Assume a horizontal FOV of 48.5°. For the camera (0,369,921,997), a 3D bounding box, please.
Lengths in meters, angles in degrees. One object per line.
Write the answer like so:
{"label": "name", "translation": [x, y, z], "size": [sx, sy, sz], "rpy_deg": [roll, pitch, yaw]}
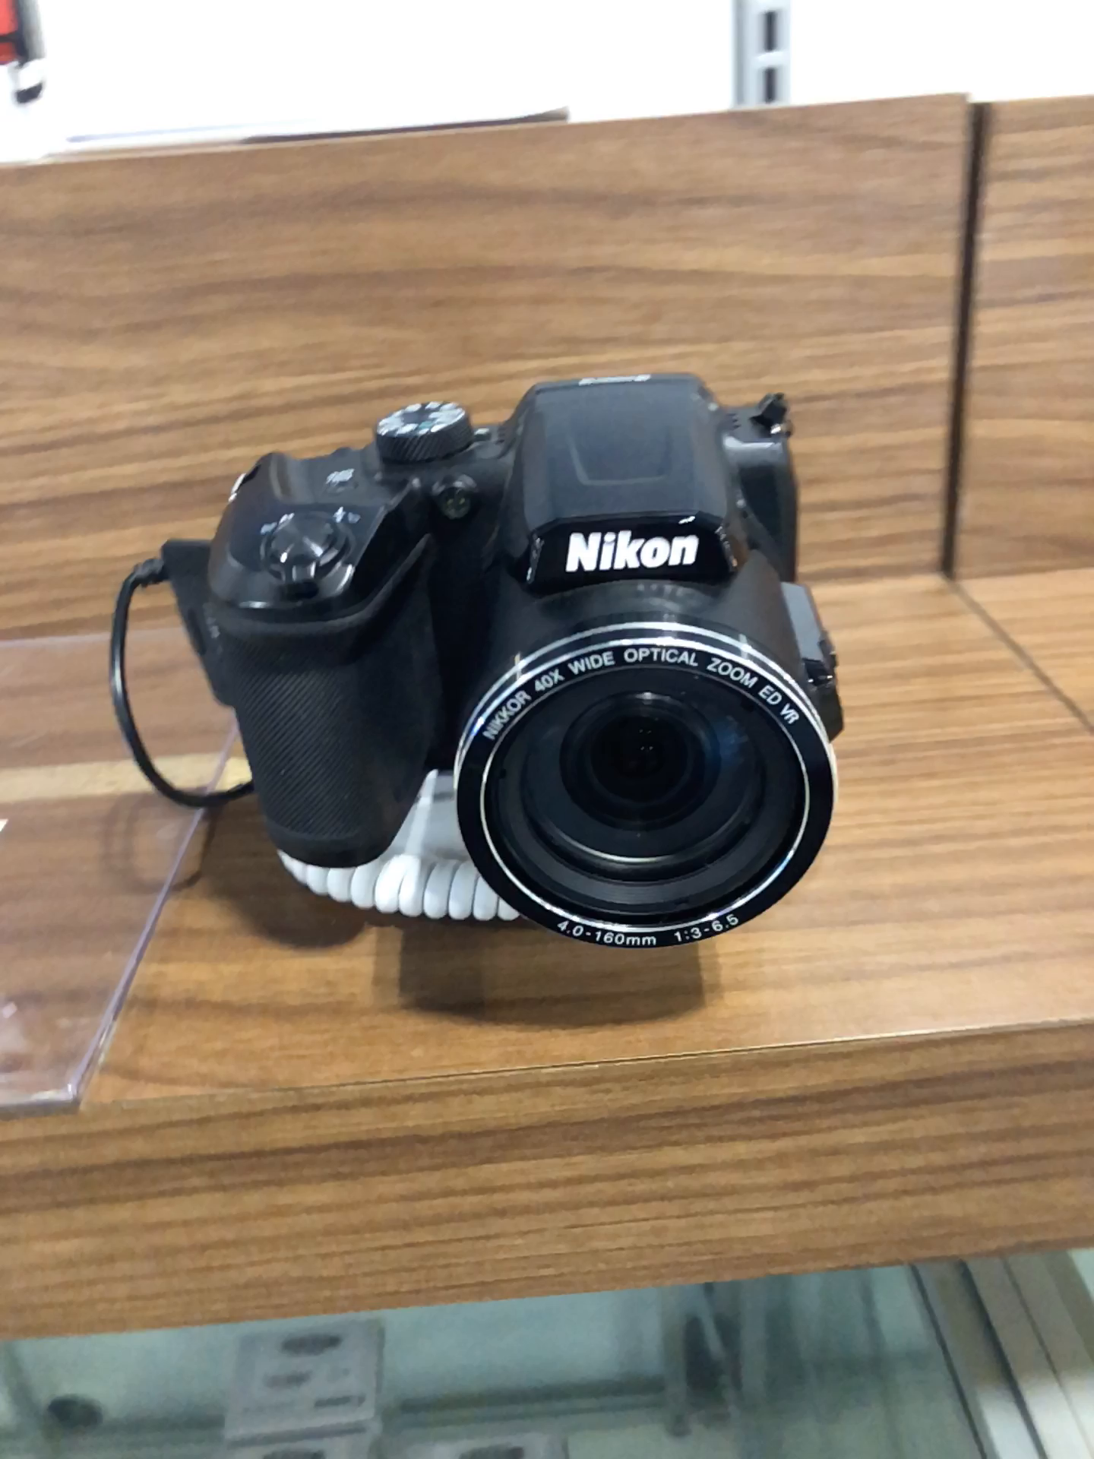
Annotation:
{"label": "camera", "translation": [-0.014, -0.017, 0.222], "size": [0.130, 0.070, 0.101], "rpy_deg": [-5, 25, -1]}
